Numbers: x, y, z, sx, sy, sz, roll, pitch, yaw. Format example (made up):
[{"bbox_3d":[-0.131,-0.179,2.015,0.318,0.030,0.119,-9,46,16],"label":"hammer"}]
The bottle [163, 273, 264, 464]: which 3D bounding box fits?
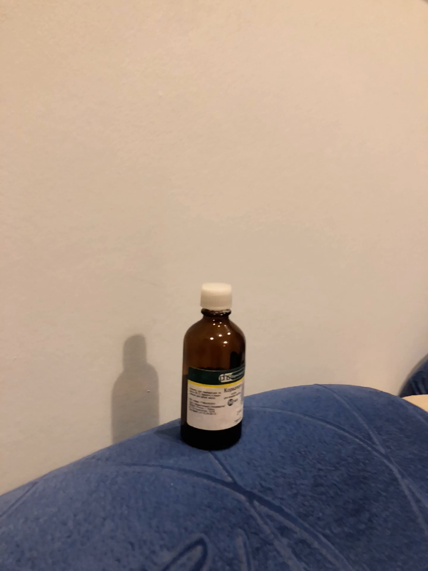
[{"bbox_3d":[-0.001,0.046,0.287,0.045,0.100,0.040,-8,13,-42],"label":"bottle"}]
